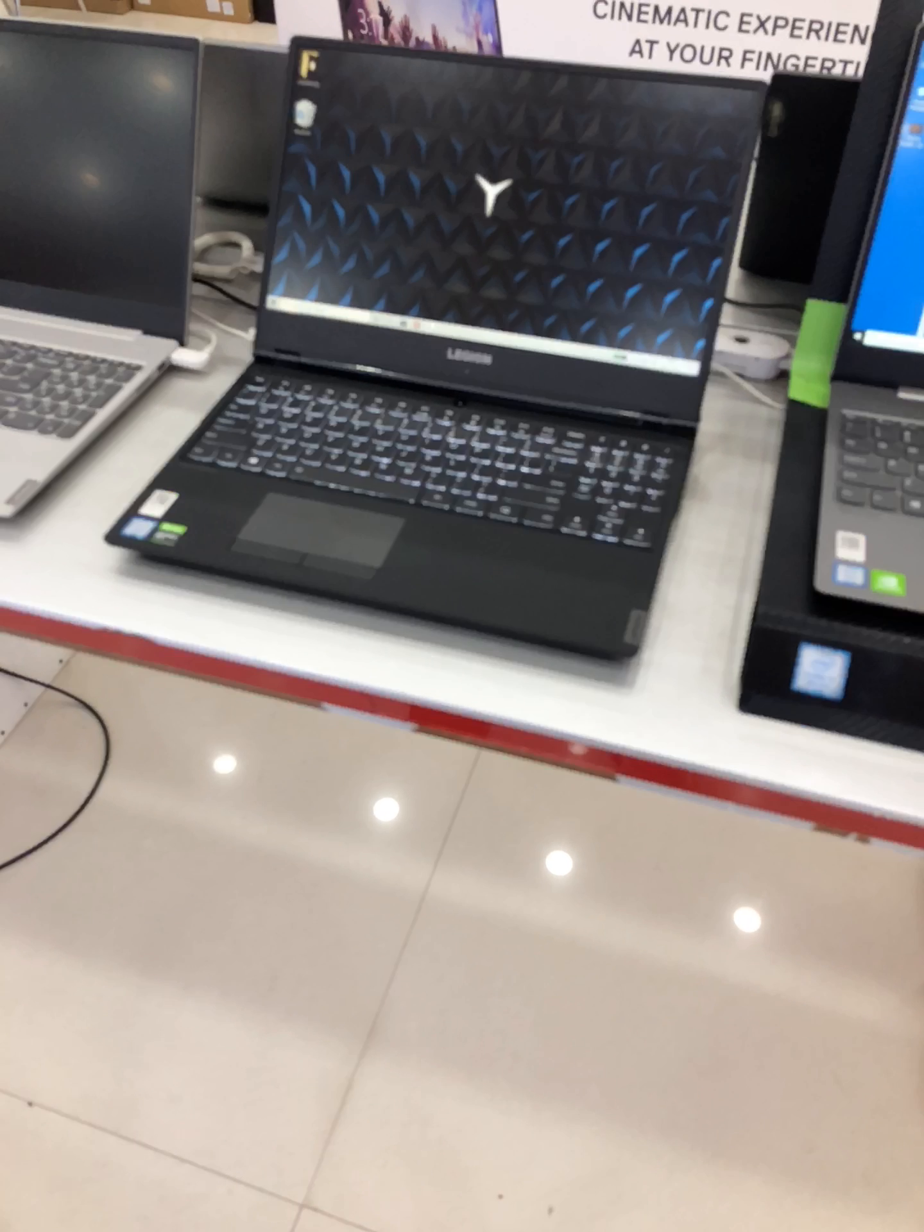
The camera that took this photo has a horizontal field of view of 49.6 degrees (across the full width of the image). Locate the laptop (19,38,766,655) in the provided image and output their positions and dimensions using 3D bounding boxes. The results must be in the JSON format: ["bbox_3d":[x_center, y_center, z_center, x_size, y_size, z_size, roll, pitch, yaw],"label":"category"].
[{"bbox_3d":[-0.010,-0.200,0.647,0.333,0.191,0.349,12,47,11],"label":"laptop"}]
